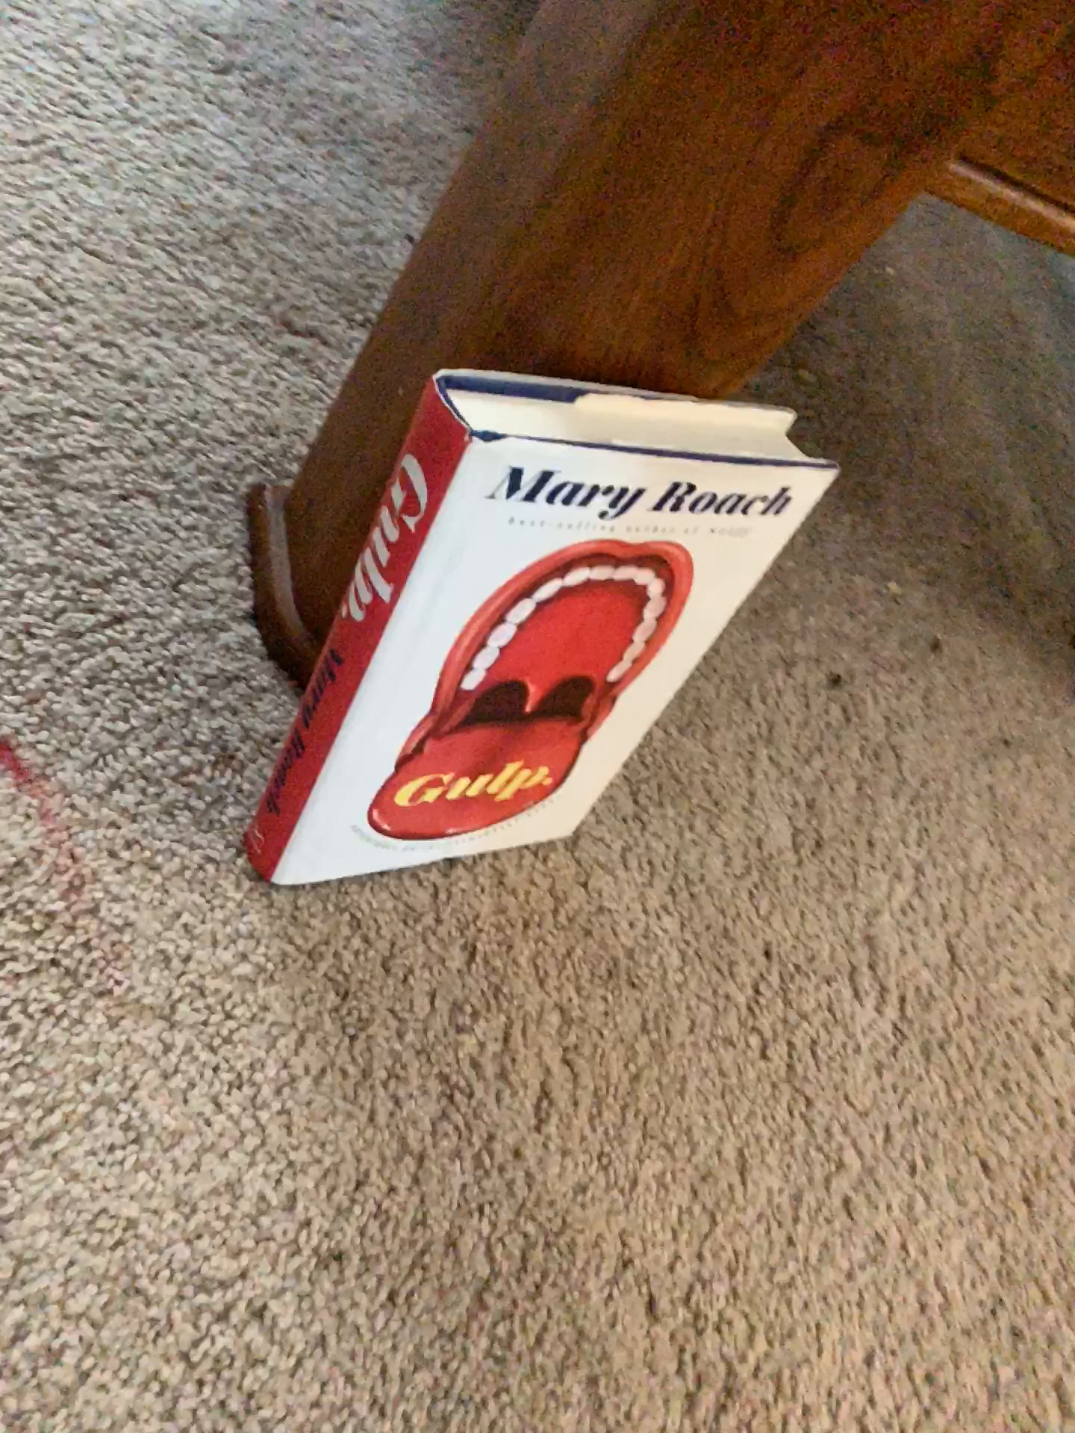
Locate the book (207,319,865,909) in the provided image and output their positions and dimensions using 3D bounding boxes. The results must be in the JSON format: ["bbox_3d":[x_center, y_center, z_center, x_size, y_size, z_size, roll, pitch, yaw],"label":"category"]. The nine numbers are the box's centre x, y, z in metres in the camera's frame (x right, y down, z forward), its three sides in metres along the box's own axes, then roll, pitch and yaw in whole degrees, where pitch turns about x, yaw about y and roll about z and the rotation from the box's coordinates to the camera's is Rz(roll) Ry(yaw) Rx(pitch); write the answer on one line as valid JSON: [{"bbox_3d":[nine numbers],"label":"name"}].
[{"bbox_3d":[-0.012,-0.021,0.401,0.160,0.229,0.040,-5,52,-35],"label":"book"}]
